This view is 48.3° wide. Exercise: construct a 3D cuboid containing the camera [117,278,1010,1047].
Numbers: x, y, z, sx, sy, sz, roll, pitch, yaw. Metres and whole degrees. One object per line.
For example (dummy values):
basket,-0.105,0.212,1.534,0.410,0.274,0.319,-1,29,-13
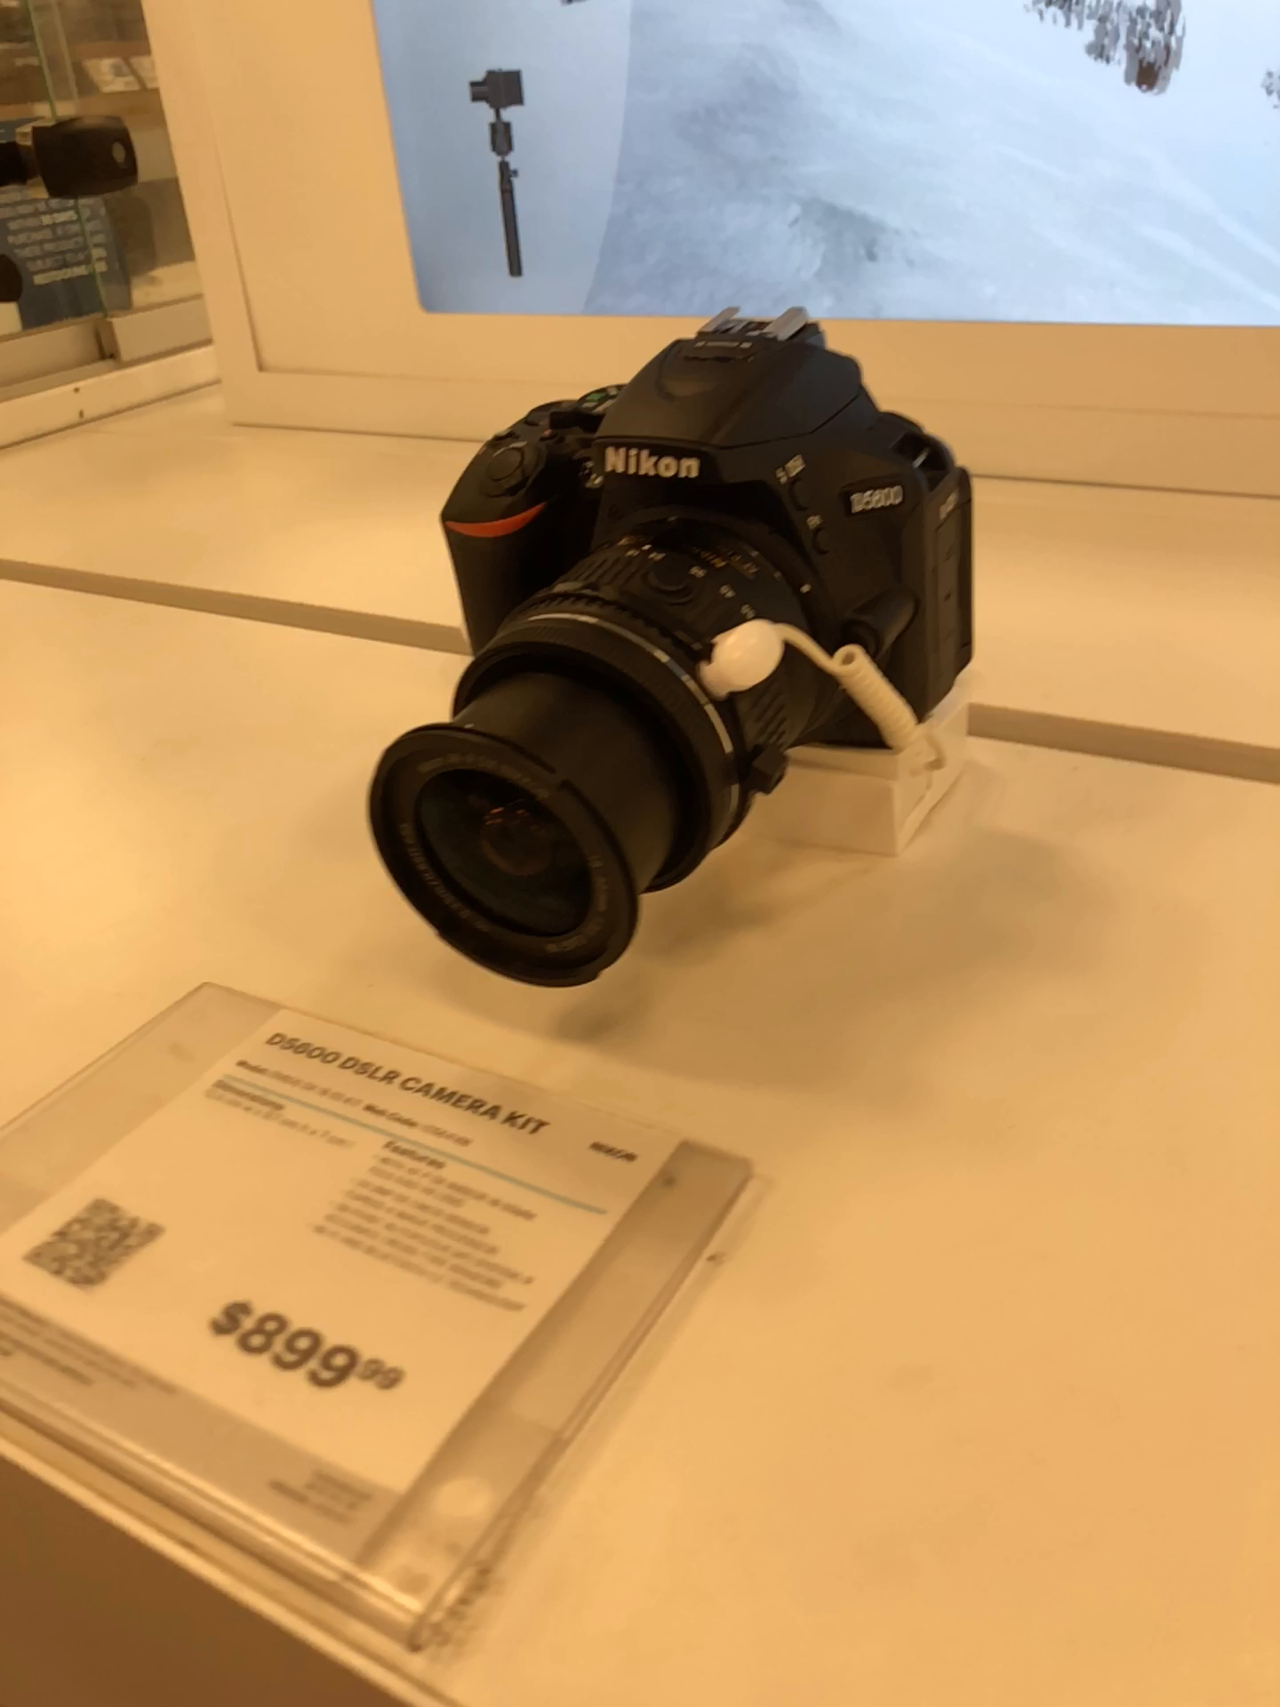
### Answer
camera,0.001,-0.063,0.340,0.120,0.090,0.191,11,40,27
